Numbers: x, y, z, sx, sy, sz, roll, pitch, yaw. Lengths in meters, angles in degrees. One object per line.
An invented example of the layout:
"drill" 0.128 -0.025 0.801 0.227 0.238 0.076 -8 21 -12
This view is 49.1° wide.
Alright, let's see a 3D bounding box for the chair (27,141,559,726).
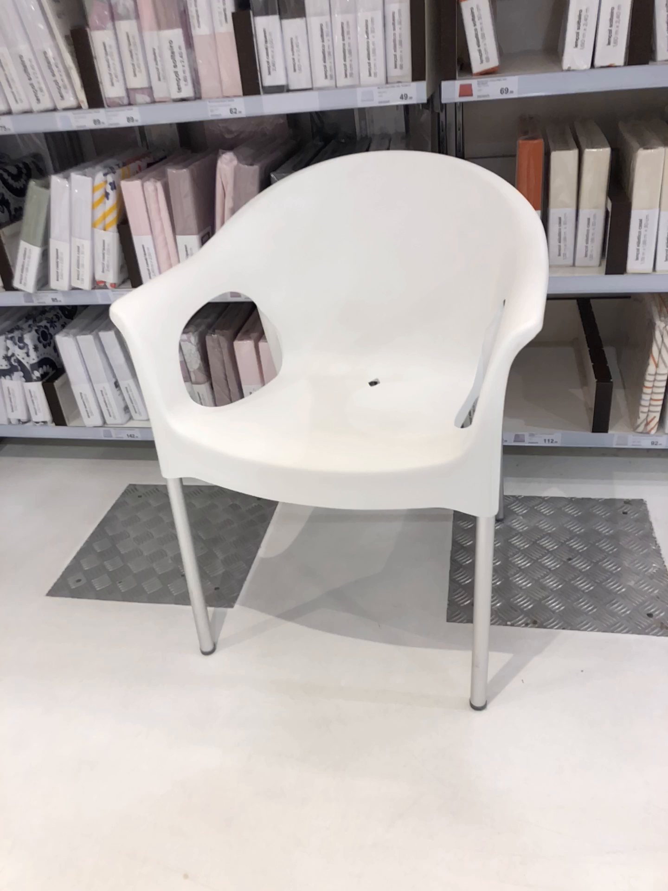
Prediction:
"chair" 0.022 -0.062 1.207 0.590 0.705 0.554 5 32 19
